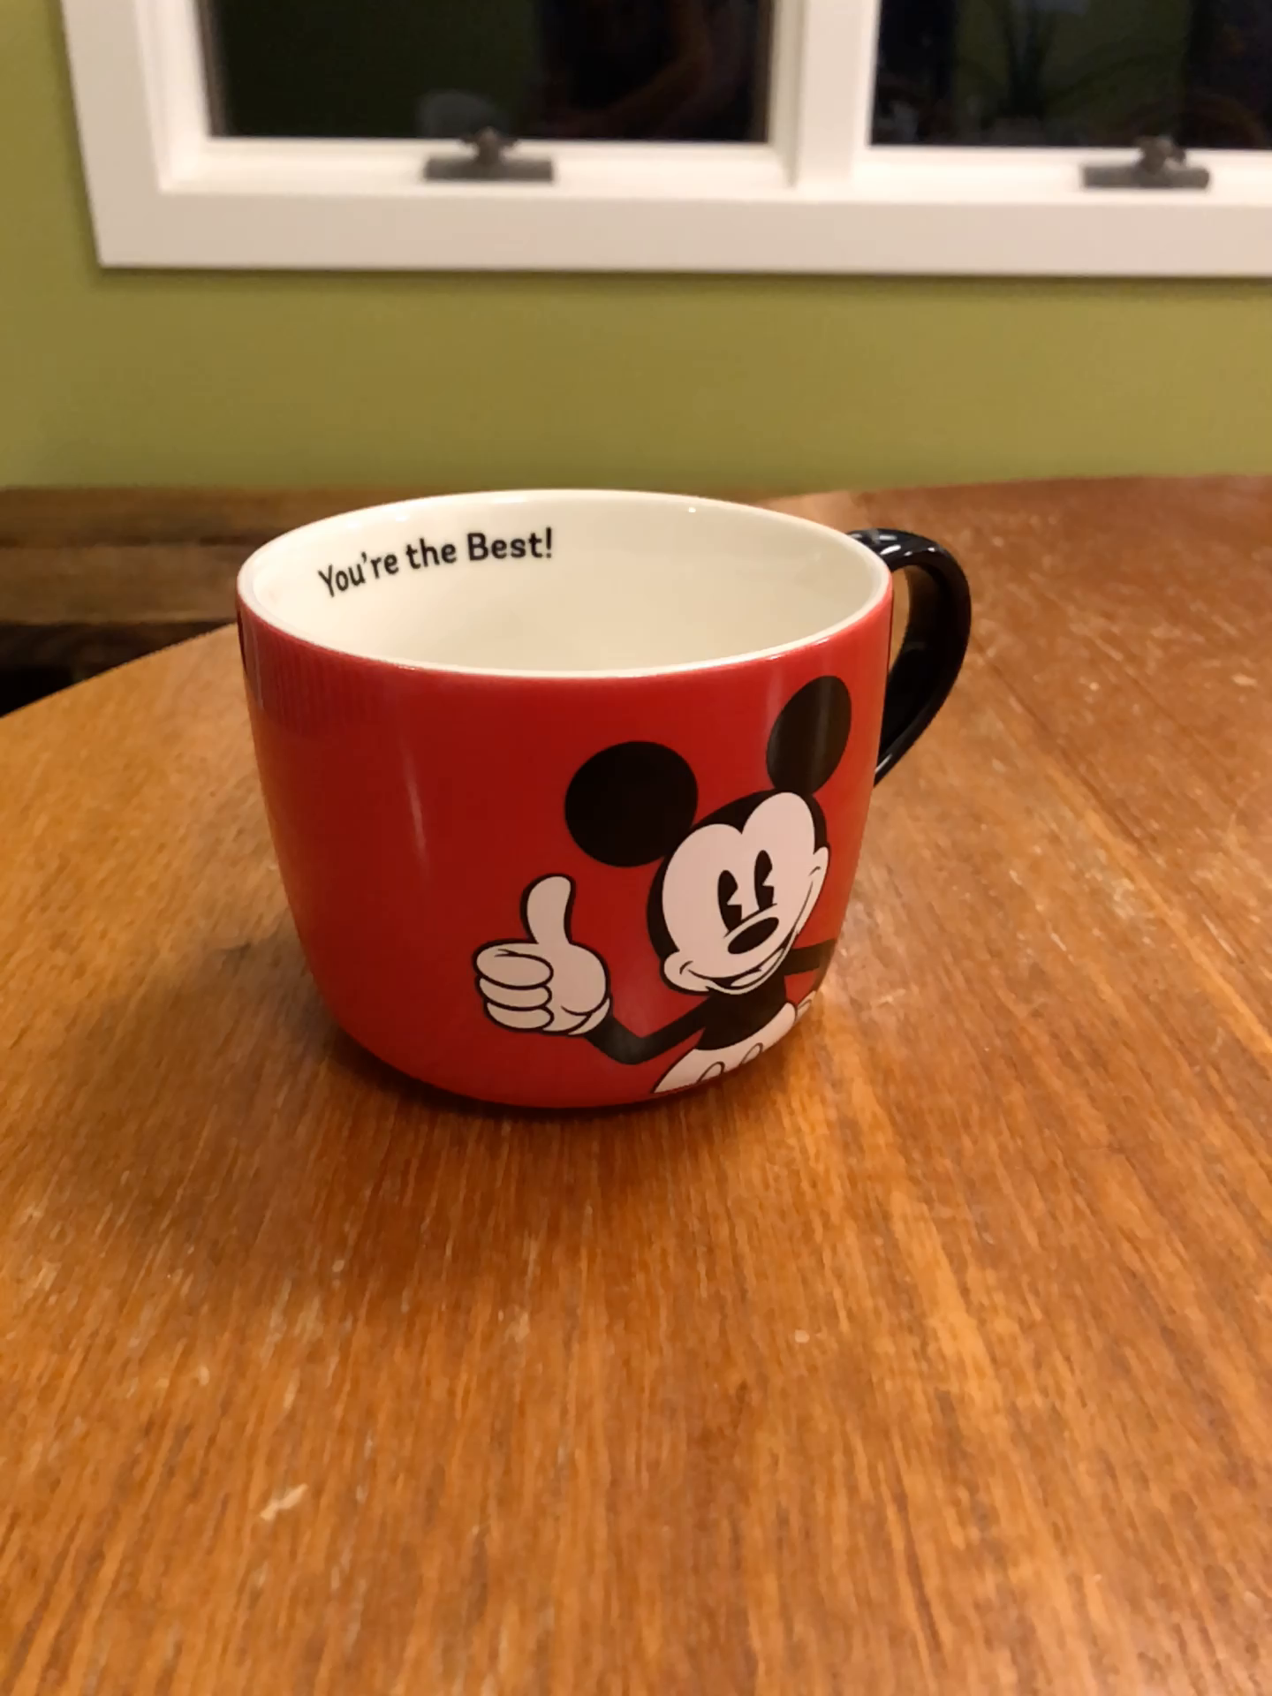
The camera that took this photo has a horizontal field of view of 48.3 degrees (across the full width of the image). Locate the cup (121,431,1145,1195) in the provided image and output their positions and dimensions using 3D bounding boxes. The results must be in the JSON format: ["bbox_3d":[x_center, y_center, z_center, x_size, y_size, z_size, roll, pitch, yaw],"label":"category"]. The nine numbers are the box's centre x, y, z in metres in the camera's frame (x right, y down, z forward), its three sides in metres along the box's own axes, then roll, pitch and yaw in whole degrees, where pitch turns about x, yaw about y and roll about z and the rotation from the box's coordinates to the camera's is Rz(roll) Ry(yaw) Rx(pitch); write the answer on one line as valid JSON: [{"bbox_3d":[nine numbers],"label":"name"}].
[{"bbox_3d":[0.004,-0.023,0.255,0.143,0.069,0.103,-24,36,-39],"label":"cup"}]
